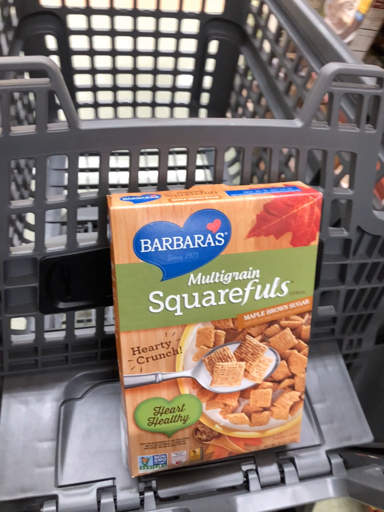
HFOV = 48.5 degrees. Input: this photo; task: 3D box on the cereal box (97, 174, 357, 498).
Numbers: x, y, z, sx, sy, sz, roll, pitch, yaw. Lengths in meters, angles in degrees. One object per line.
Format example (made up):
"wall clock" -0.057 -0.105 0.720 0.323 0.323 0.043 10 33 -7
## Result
"cereal box" 0.026 0.068 0.371 0.190 0.260 0.060 -5 20 -12
